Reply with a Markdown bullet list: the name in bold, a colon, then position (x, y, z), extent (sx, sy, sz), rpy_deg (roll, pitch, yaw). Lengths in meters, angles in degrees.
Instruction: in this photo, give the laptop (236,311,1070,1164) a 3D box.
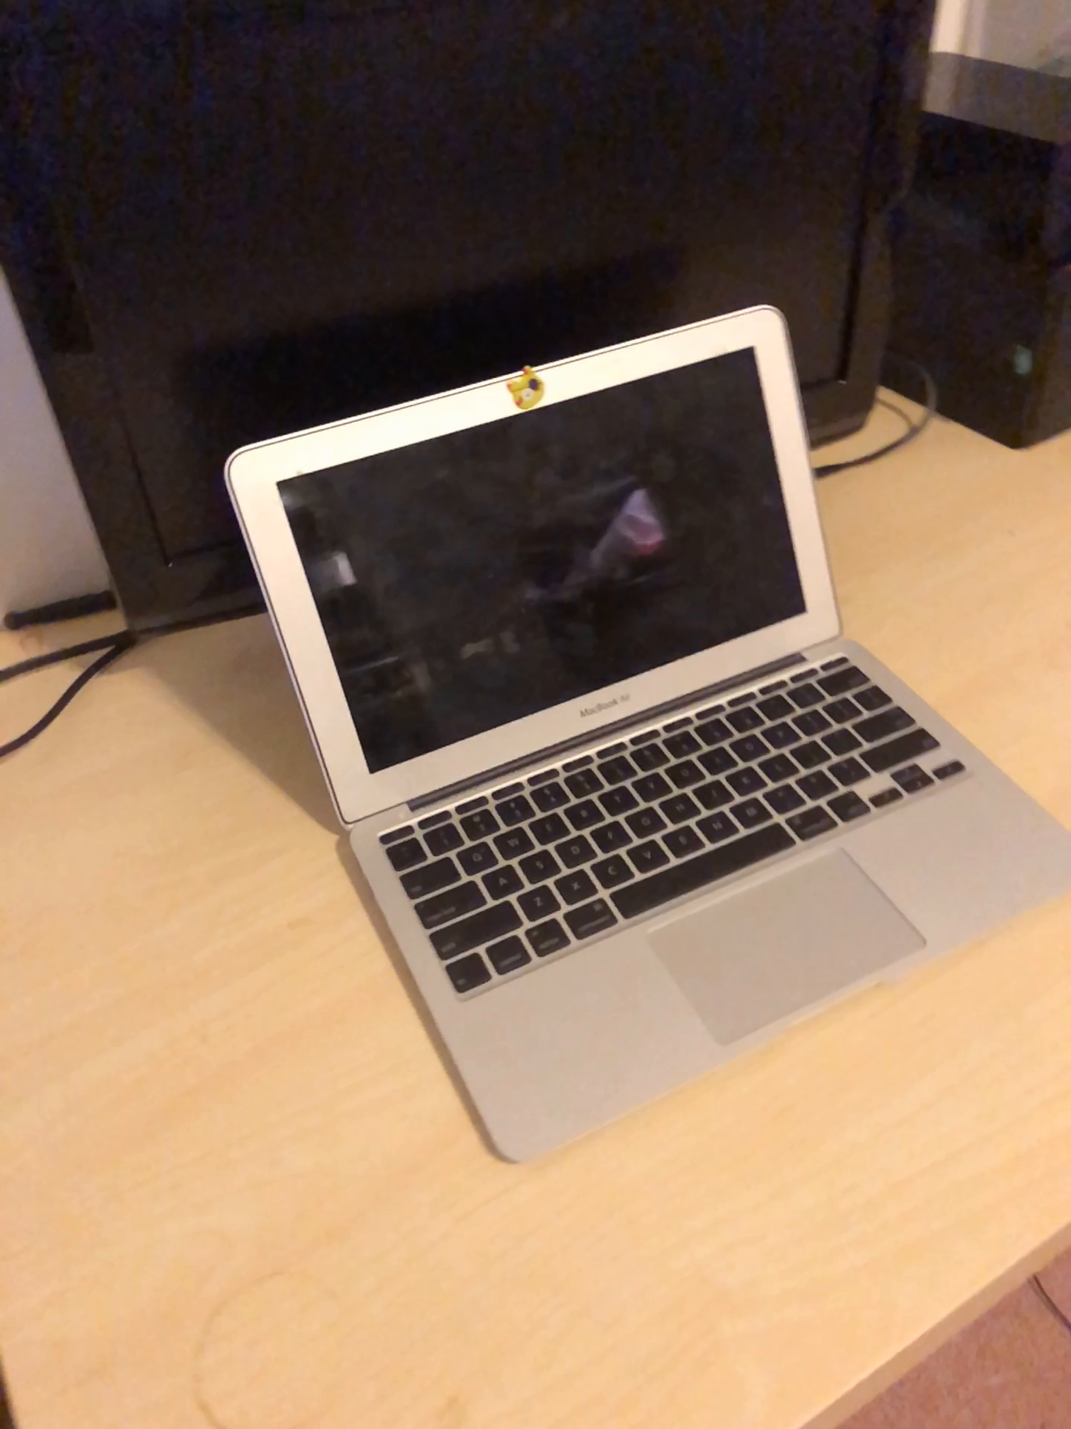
- **laptop**: position (0.059, -0.021, 0.526), extent (0.290, 0.160, 0.276), rpy_deg (-20, 44, -17)
